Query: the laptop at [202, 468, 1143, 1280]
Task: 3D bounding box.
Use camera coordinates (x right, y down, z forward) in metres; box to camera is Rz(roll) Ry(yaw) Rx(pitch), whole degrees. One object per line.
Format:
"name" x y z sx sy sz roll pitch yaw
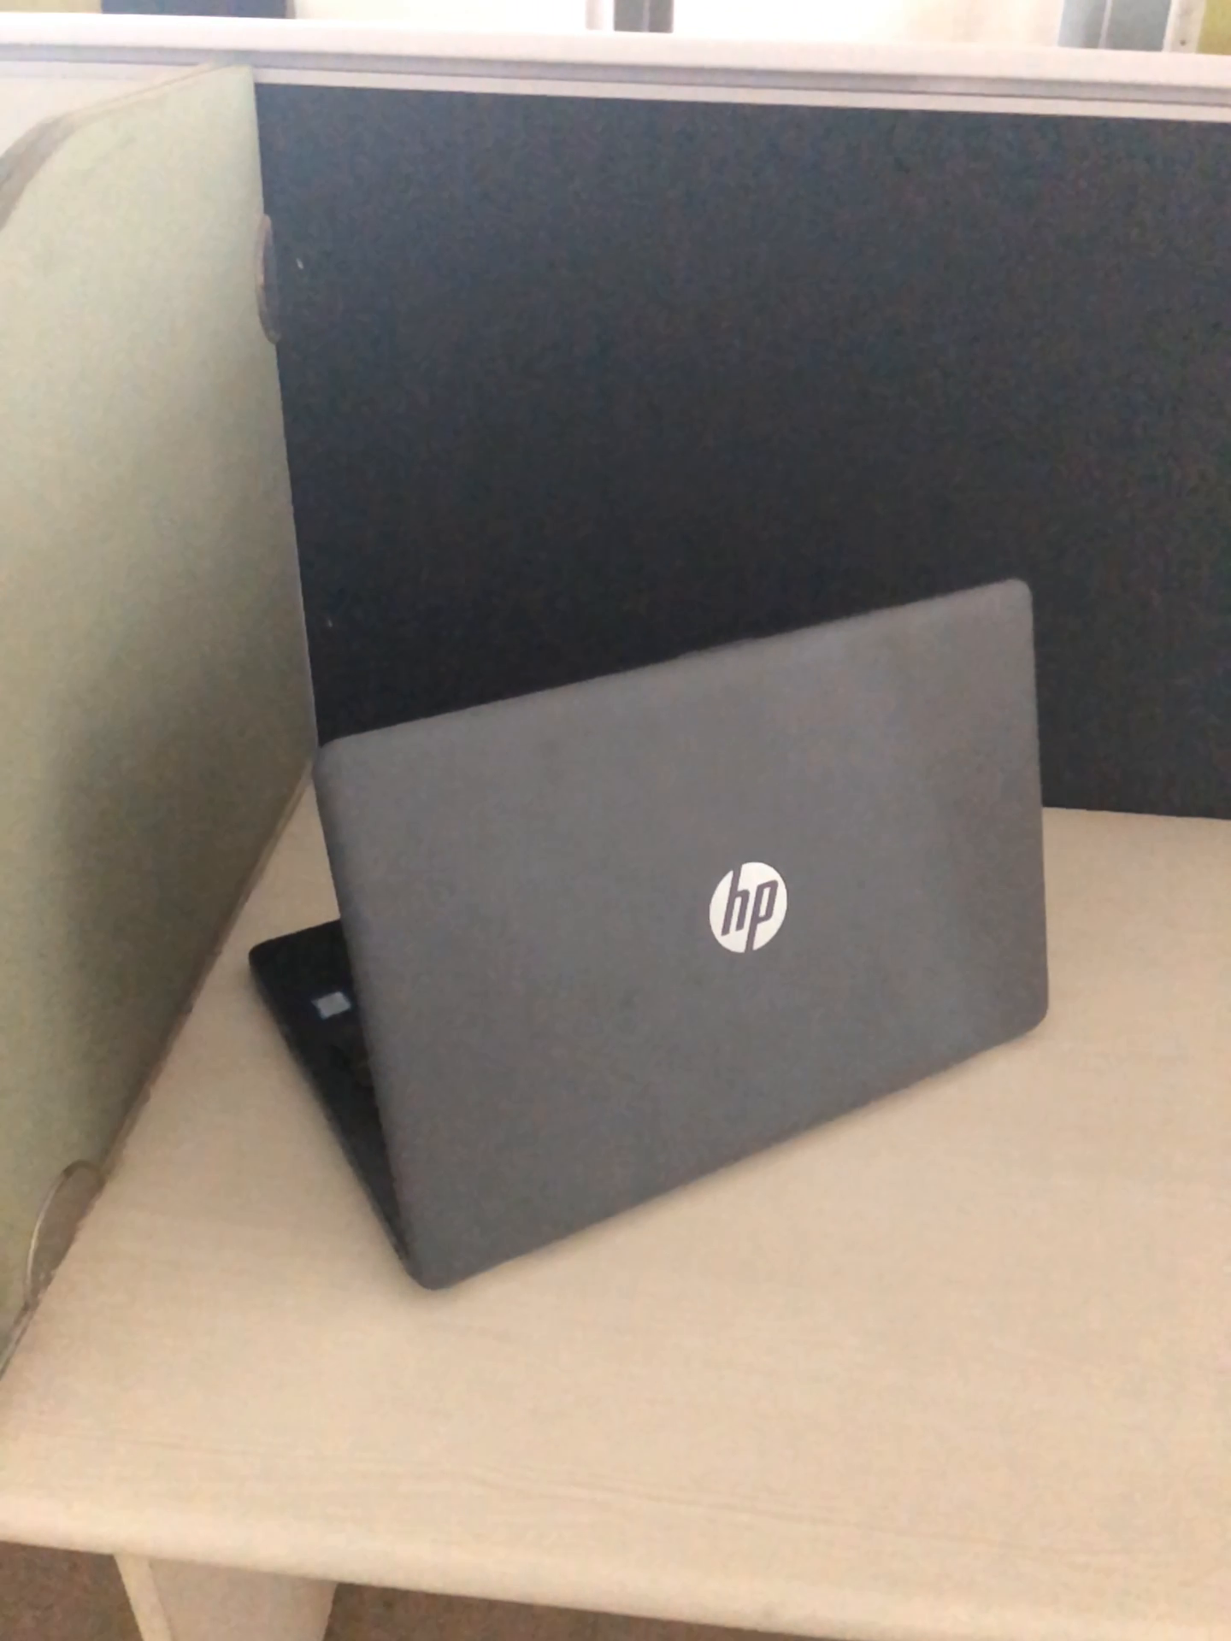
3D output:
"laptop" 0.020 -0.002 0.679 0.360 0.215 0.239 -17 39 -24
